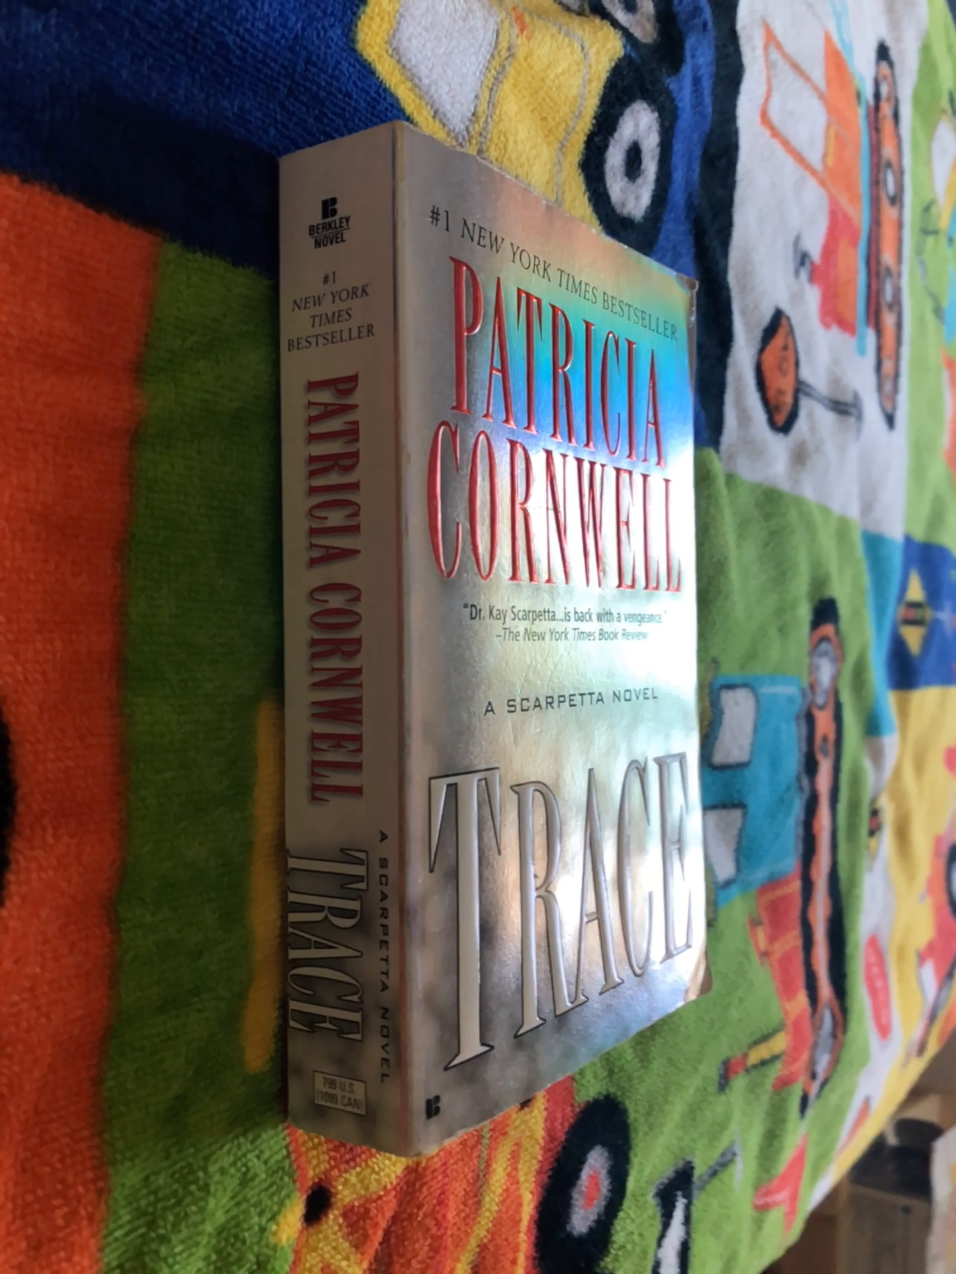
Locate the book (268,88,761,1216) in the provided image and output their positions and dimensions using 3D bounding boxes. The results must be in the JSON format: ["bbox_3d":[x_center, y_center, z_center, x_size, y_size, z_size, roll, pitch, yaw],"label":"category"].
[{"bbox_3d":[0.015,0.002,0.230,0.121,0.040,0.180,1,87,-52],"label":"book"}]
